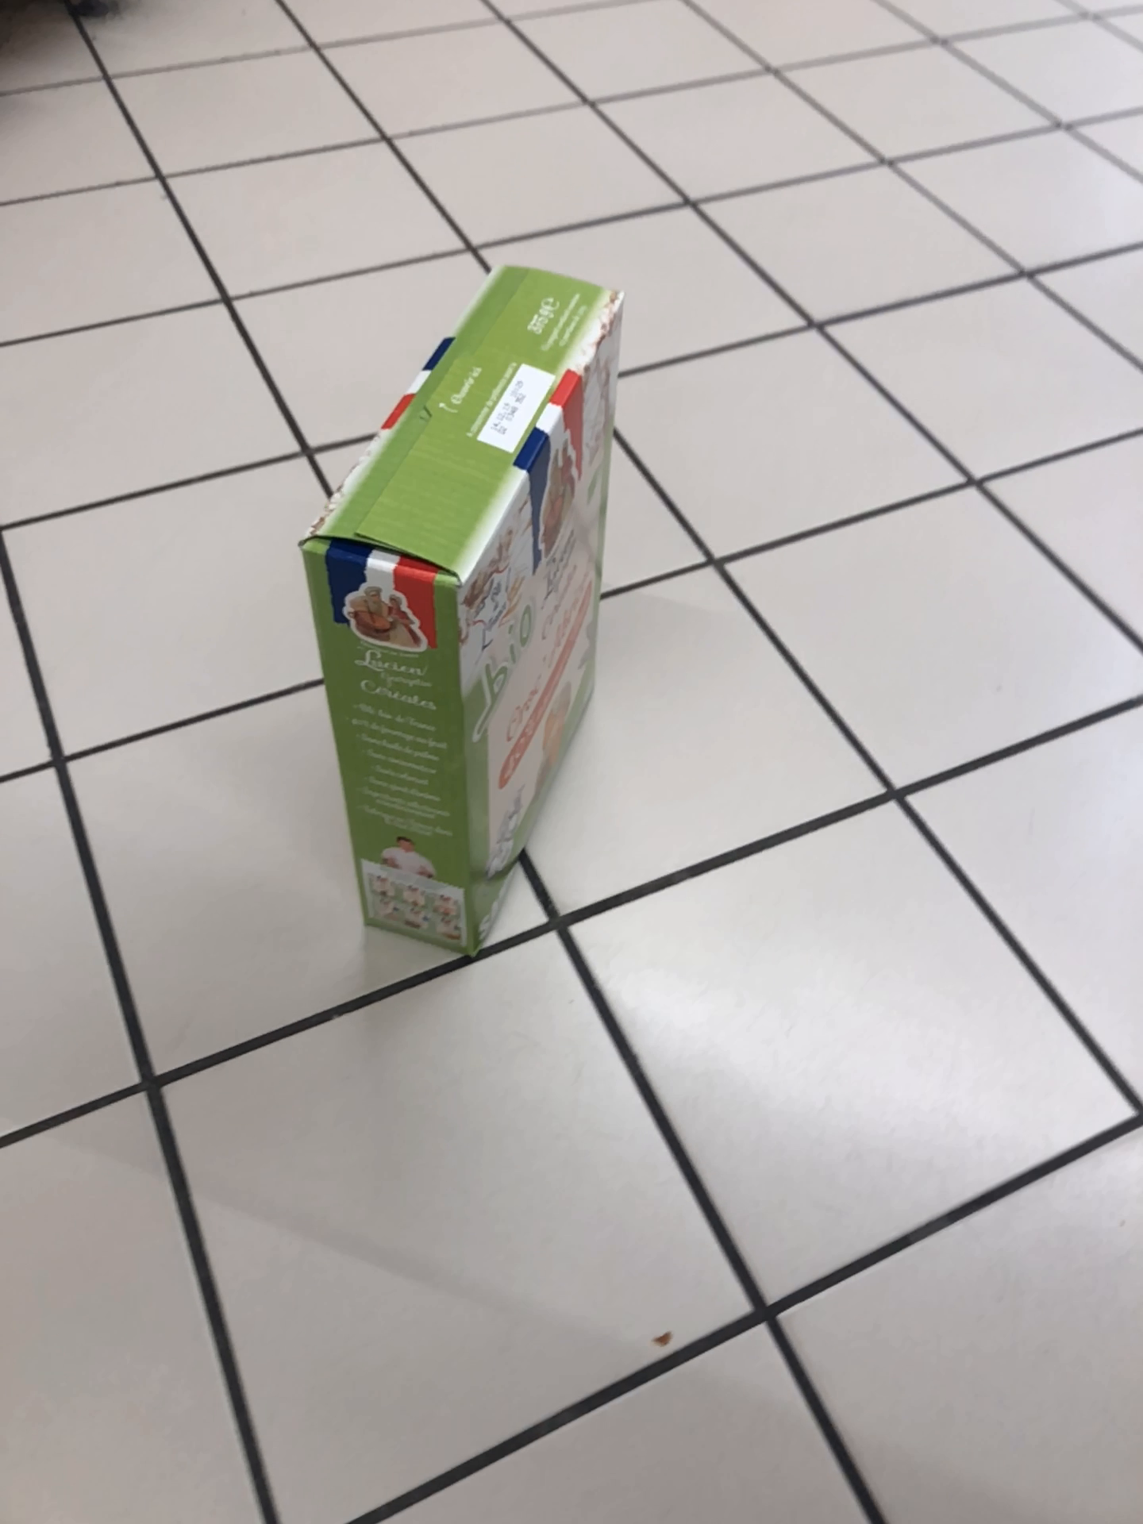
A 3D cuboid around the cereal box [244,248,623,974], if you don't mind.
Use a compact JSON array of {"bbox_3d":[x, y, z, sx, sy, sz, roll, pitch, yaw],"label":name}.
[{"bbox_3d":[-0.047,-0.060,0.558,0.070,0.239,0.201,15,51,10],"label":"cereal box"}]
